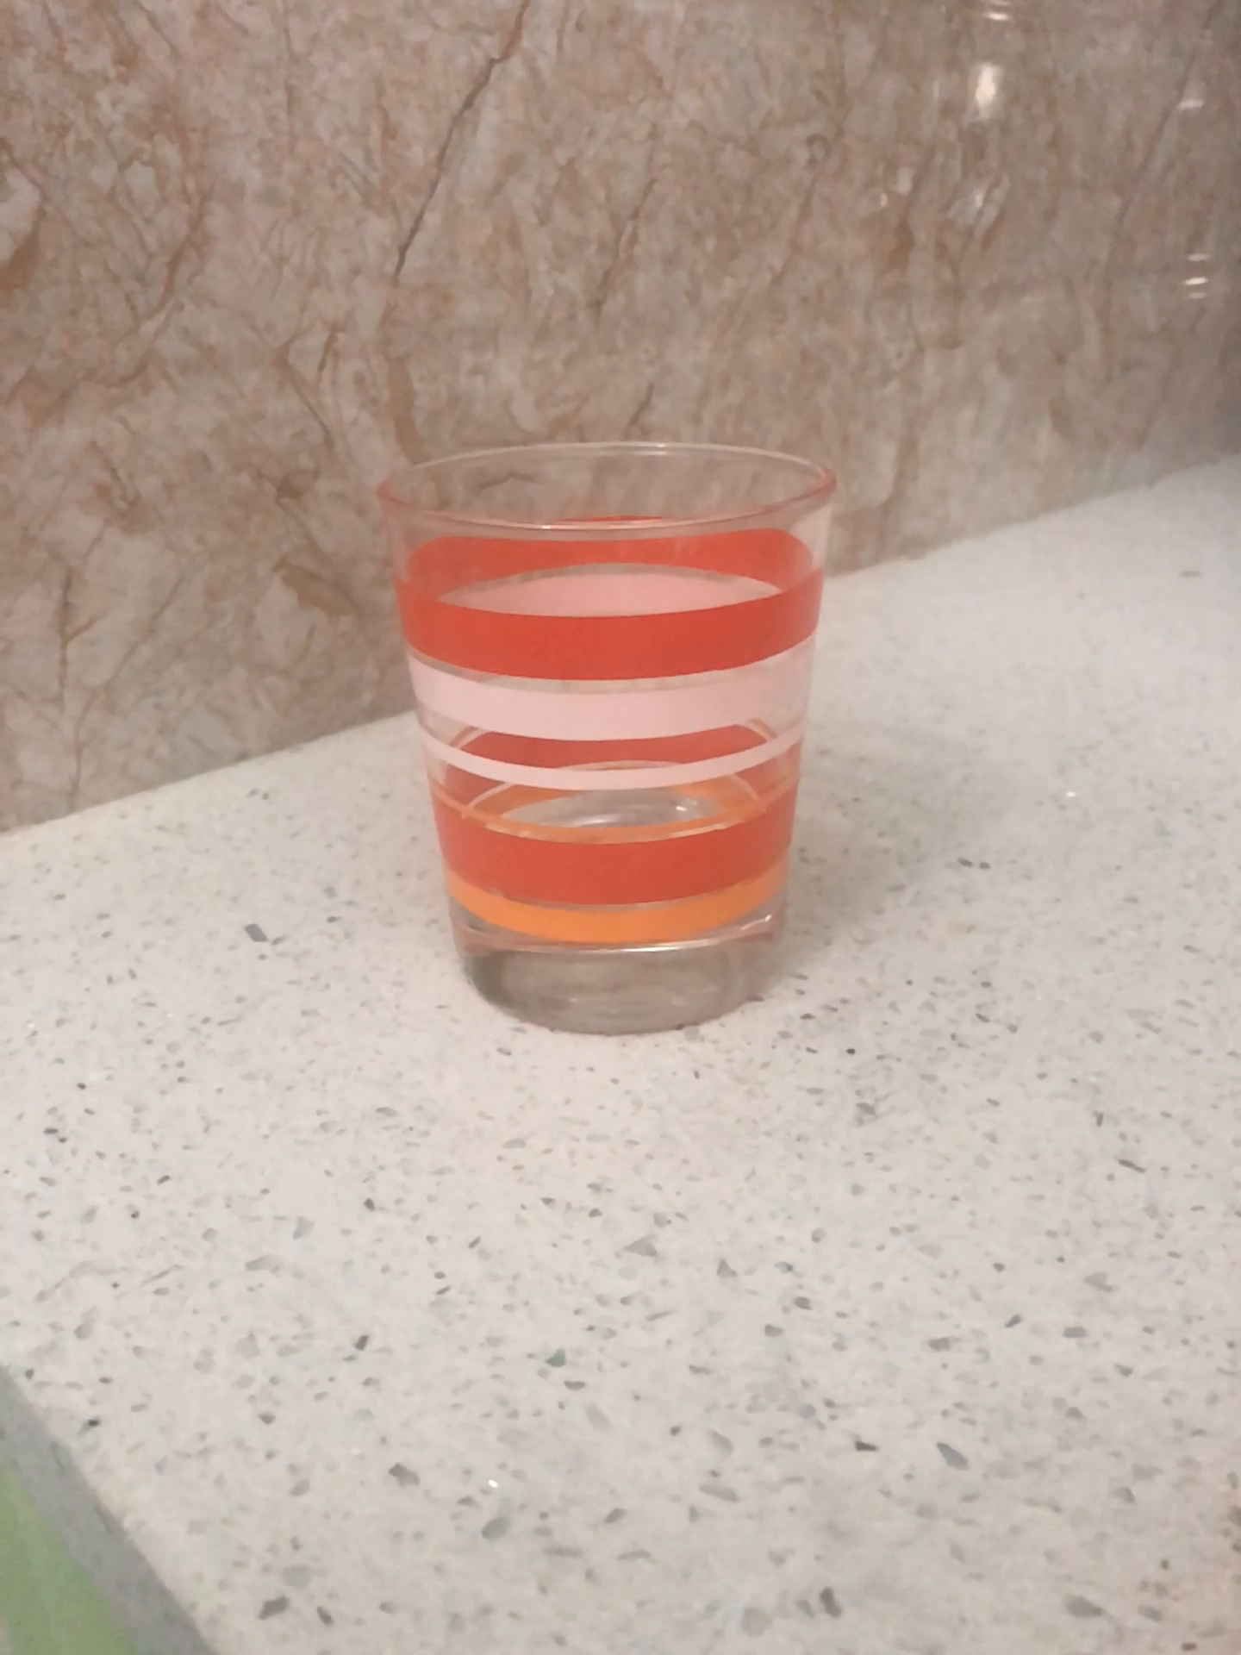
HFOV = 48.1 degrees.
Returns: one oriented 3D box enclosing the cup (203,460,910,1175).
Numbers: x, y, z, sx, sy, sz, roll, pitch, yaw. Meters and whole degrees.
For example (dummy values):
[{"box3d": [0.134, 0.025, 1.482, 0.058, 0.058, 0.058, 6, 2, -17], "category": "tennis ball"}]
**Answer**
[{"box3d": [-0.007, -0.012, 0.252, 0.080, 0.090, 0.090, 15, 29, 35], "category": "cup"}]
